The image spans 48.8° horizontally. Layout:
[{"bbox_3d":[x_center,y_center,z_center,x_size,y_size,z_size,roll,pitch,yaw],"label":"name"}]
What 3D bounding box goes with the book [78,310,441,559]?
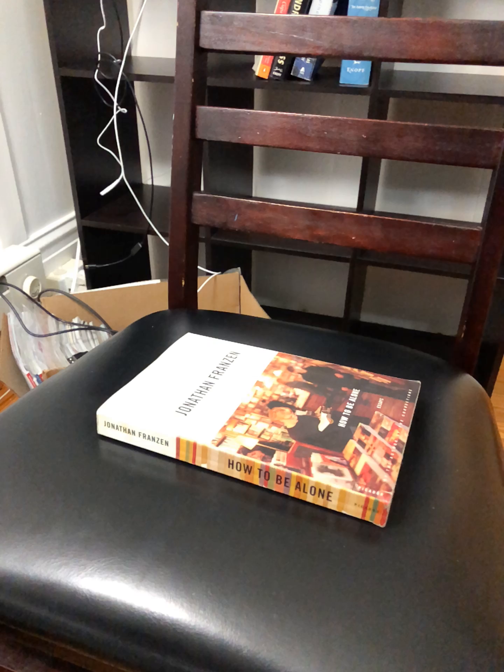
[{"bbox_3d":[0.014,0.055,0.428,0.230,0.040,0.161,13,33,18],"label":"book"}]
